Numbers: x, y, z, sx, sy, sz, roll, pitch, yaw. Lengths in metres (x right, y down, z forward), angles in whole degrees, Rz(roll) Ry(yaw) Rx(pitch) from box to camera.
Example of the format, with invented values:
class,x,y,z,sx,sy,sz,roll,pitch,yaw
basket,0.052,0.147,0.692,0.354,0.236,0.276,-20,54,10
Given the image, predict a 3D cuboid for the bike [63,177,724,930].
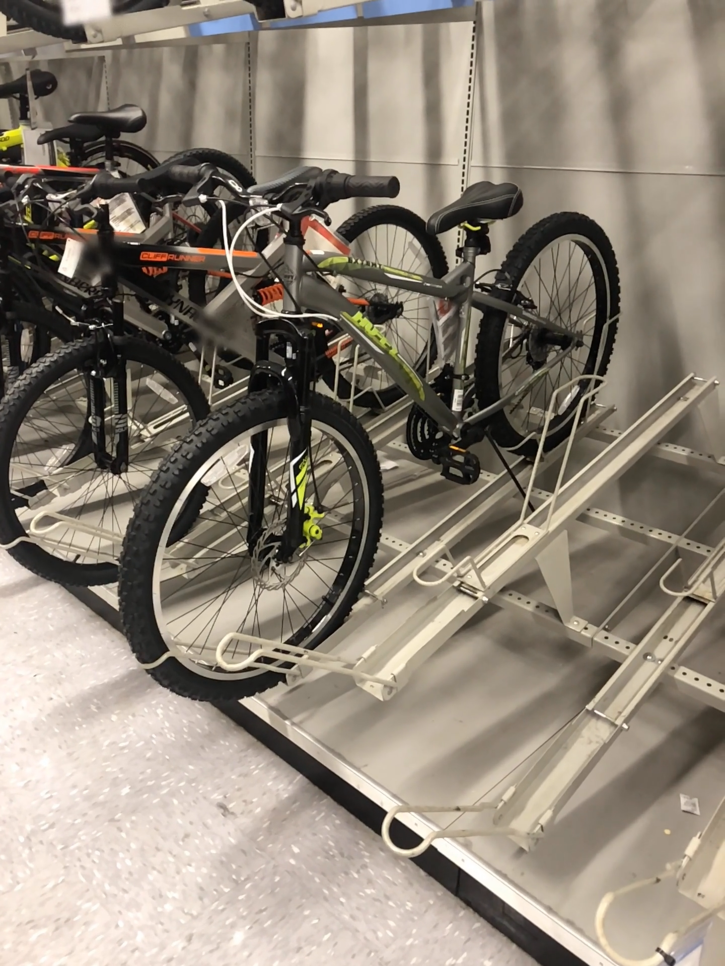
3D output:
class,x,y,z,sx,sy,sz,roll,pitch,yaw
bike,0.226,-0.090,1.880,0.609,0.729,1.720,22,42,41
